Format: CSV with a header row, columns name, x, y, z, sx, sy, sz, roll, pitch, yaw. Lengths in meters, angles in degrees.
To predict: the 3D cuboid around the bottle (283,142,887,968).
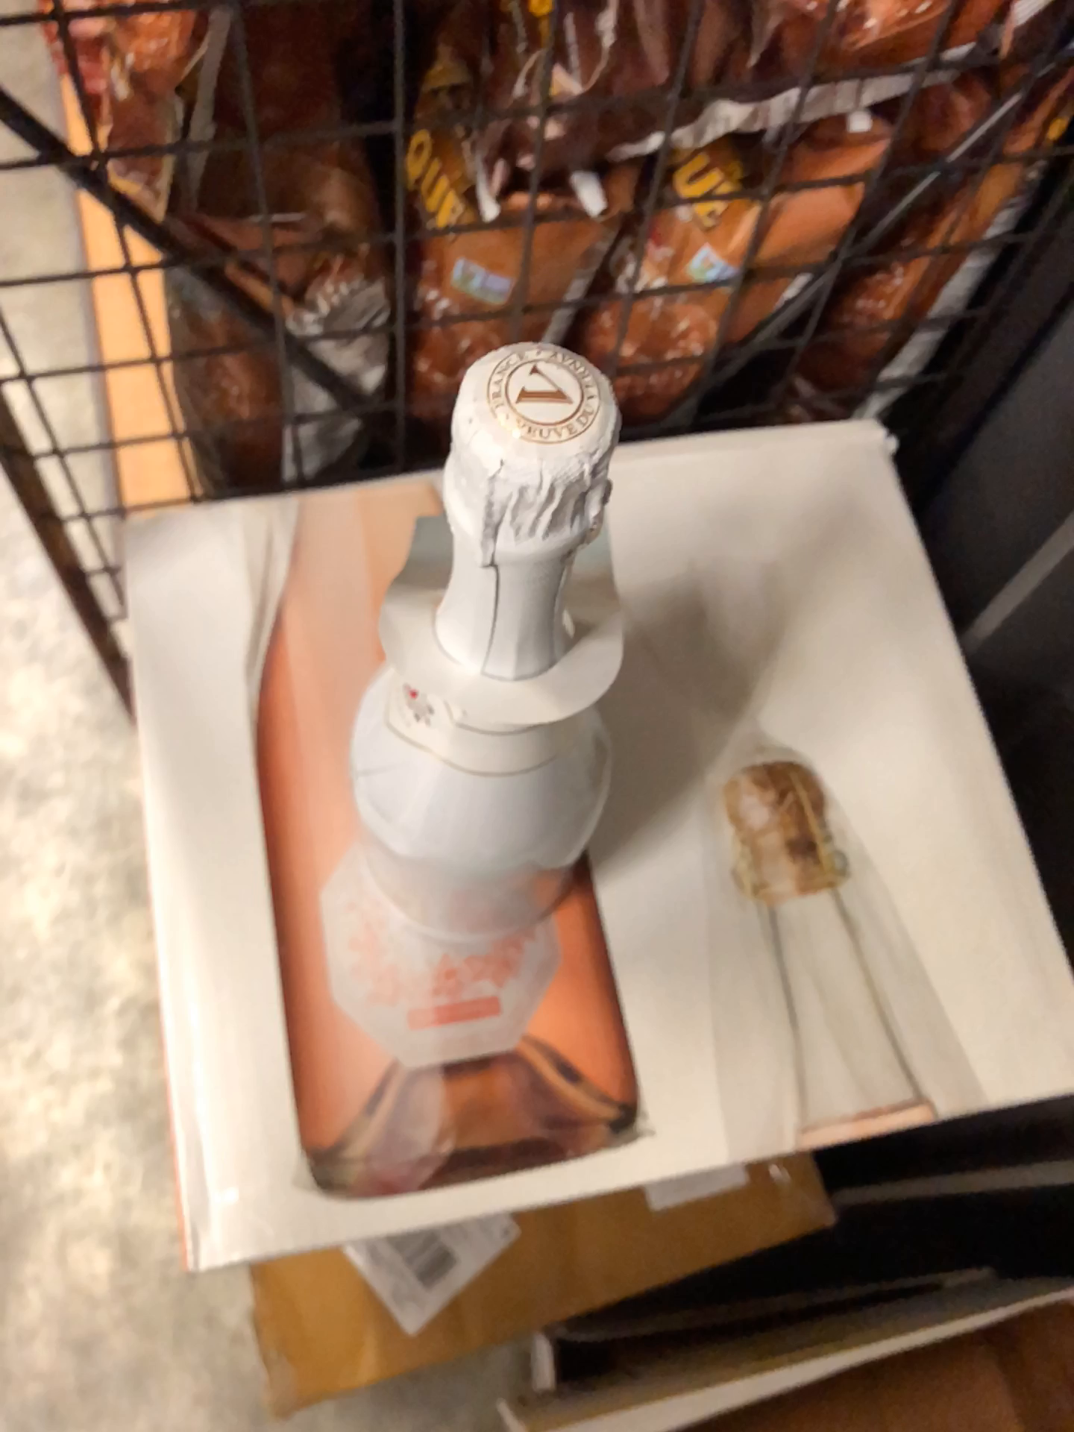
name,x,y,z,sx,sy,sz,roll,pitch,yaw
bottle,-0.008,-0.009,0.366,0.094,0.311,0.086,2,66,-5
